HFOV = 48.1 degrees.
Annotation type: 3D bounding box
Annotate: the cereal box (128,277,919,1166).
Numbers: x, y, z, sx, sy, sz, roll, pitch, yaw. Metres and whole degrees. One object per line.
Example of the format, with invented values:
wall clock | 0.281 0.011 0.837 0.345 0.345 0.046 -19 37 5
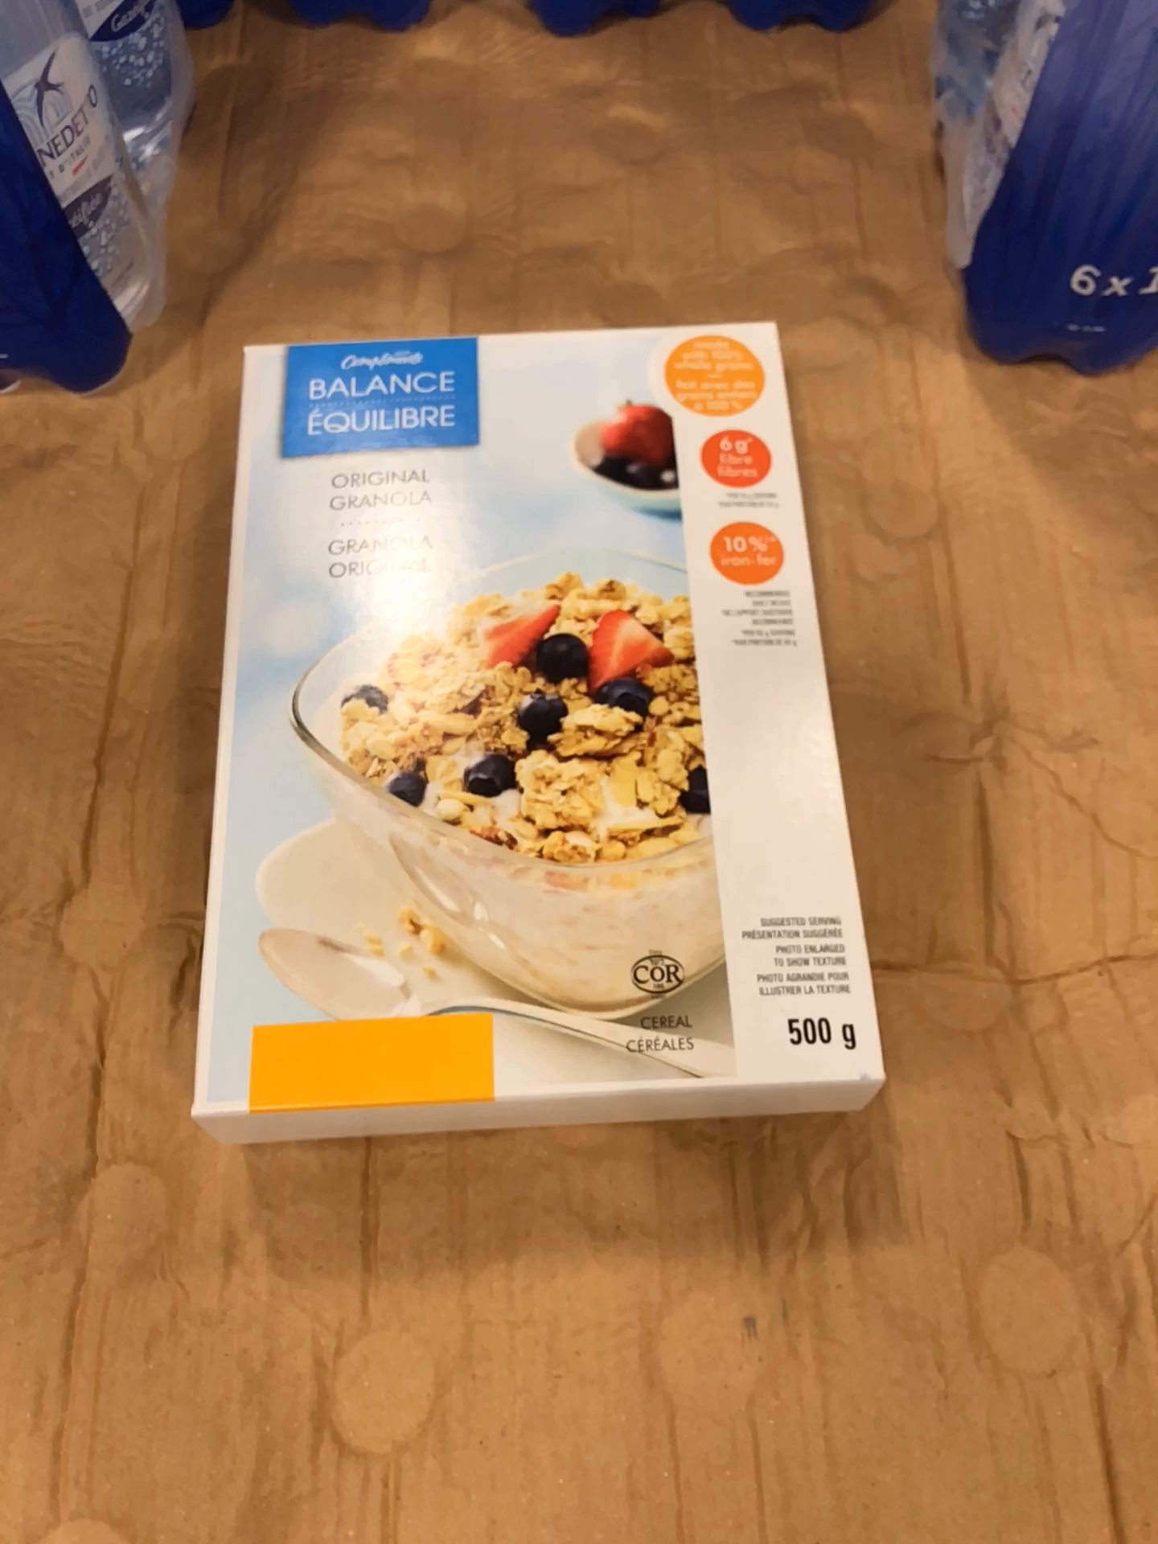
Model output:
cereal box | -0.020 -0.026 0.369 0.180 0.050 0.250 -3 65 -3
